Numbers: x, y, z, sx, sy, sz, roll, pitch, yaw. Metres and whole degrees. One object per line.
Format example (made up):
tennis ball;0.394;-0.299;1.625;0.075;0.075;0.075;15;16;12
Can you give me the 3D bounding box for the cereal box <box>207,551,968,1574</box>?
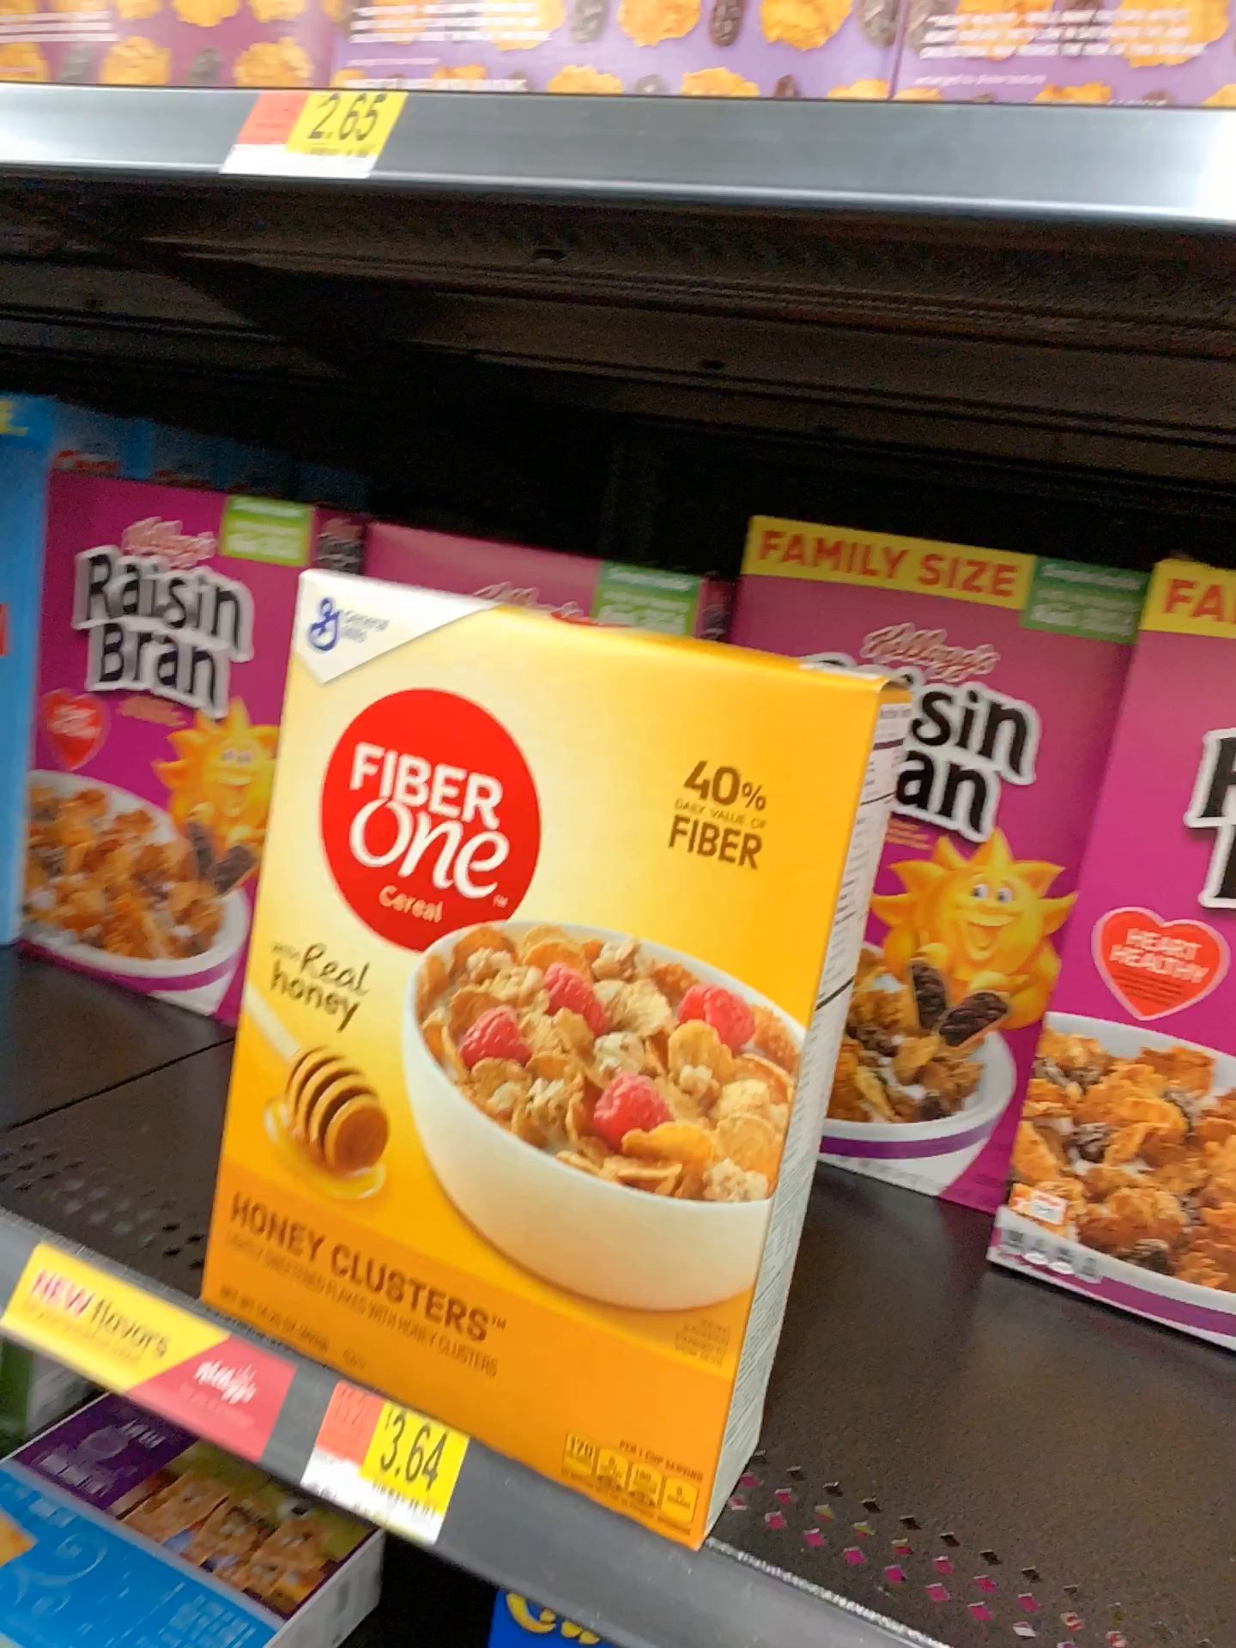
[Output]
cereal box;-0.022;0.061;0.401;0.200;0.259;0.050;14;10;24
